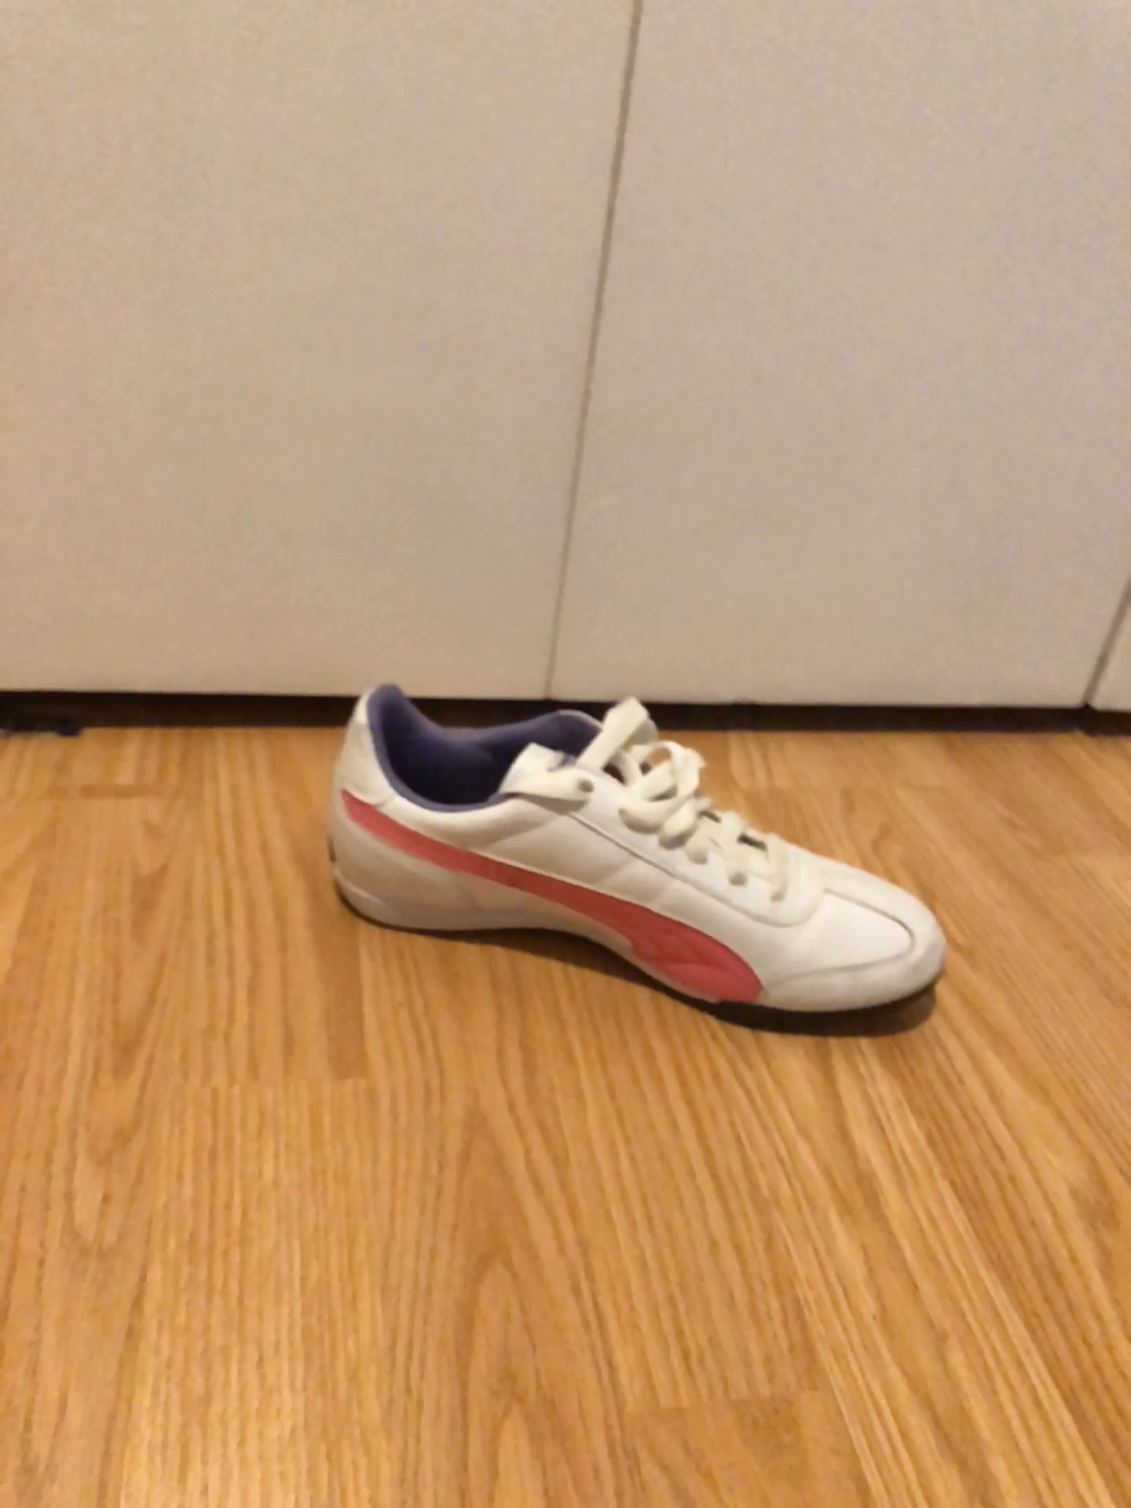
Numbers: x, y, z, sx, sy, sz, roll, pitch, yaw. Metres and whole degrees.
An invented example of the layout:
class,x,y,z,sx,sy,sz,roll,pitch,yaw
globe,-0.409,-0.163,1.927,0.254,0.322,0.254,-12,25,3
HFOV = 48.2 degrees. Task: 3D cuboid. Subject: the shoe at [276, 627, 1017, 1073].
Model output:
class,x,y,z,sx,sy,sz,roll,pitch,yaw
shoe,0.029,0.032,0.499,0.260,0.080,0.100,12,31,6
